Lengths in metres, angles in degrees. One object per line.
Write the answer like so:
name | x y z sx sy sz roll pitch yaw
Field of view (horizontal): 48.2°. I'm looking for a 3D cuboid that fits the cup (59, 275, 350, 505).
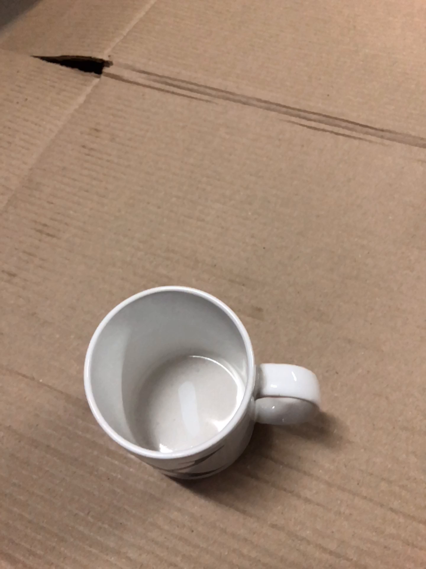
cup | 0.001 0.055 0.238 0.110 0.090 0.080 2 58 6
